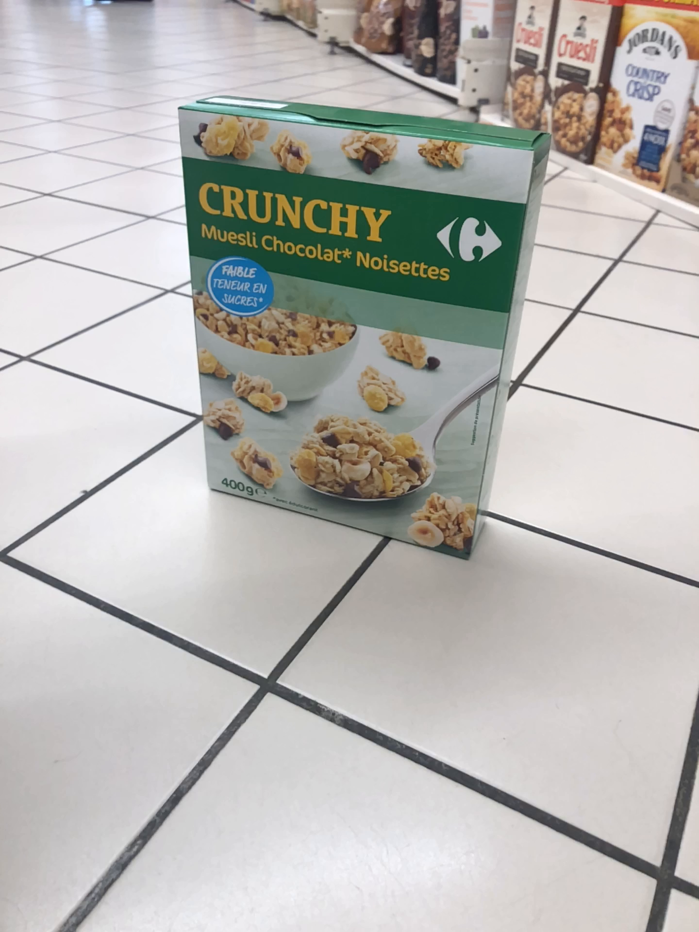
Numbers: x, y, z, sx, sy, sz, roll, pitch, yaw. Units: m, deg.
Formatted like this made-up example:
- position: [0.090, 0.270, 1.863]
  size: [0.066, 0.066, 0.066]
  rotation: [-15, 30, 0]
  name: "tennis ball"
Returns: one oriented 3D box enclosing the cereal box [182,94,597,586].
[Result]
- position: [0.014, -0.070, 0.454]
  size: [0.200, 0.248, 0.060]
  rotation: [14, 35, 18]
  name: "cereal box"
